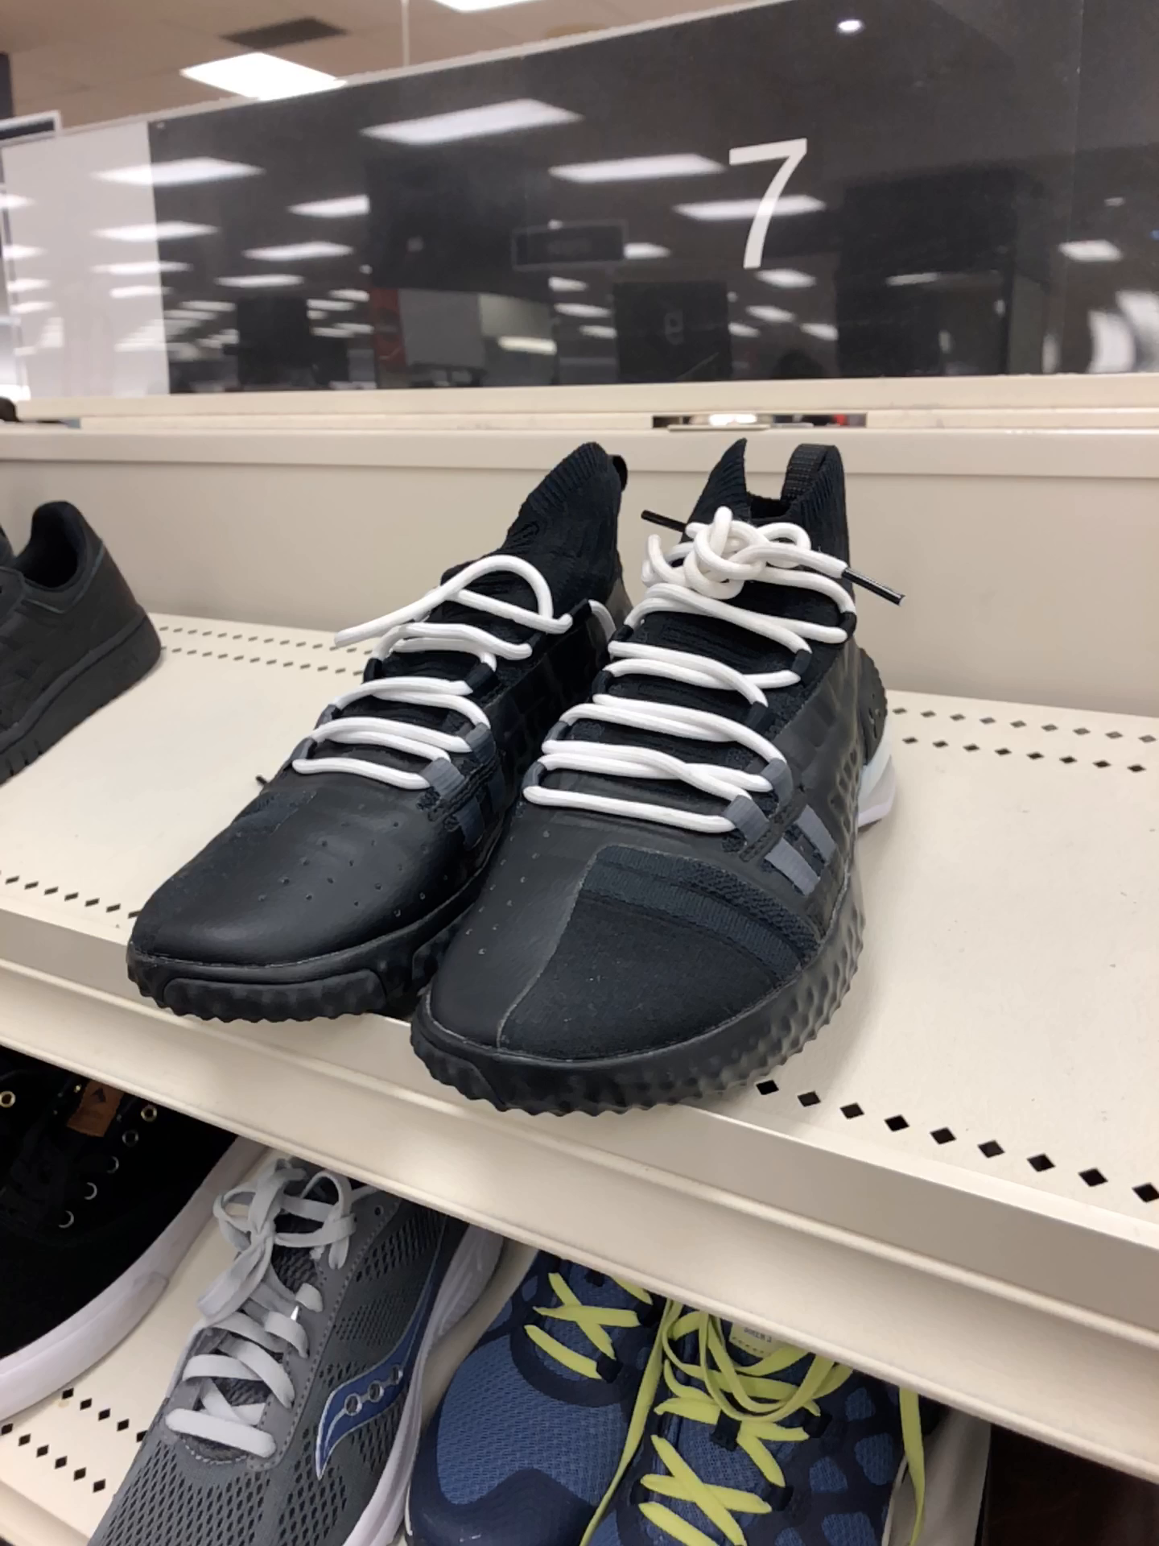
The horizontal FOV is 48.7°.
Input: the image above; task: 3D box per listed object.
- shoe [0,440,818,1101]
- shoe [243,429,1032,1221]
[{"bbox_3d":[-0.029,-0.039,0.506,0.120,0.136,0.352,8,24,31],"label":"shoe"},{"bbox_3d":[0.059,-0.027,0.445,0.120,0.136,0.352,7,23,27],"label":"shoe"}]
